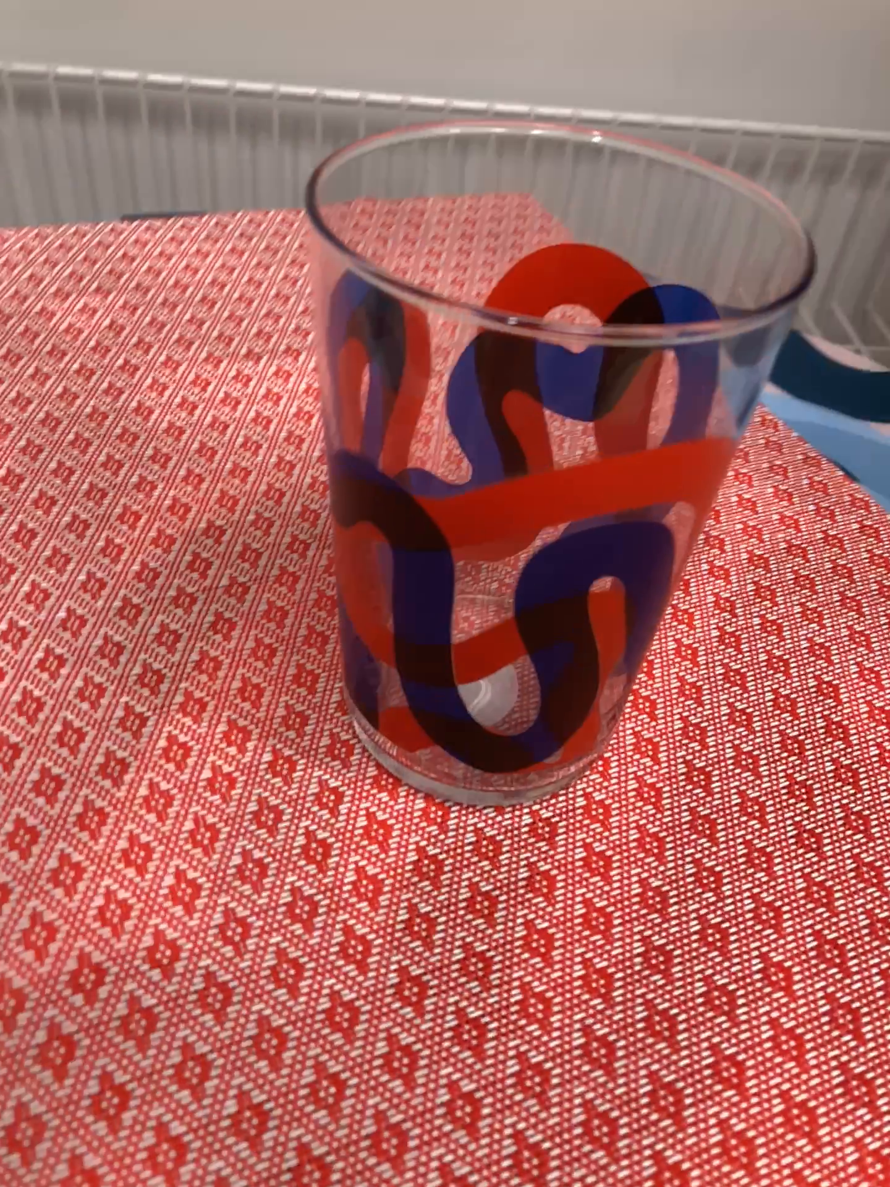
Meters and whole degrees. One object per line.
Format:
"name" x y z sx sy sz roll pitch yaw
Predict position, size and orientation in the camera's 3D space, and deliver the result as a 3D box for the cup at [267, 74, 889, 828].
"cup" 0.015 -0.025 0.204 0.090 0.120 0.090 3 43 -3
